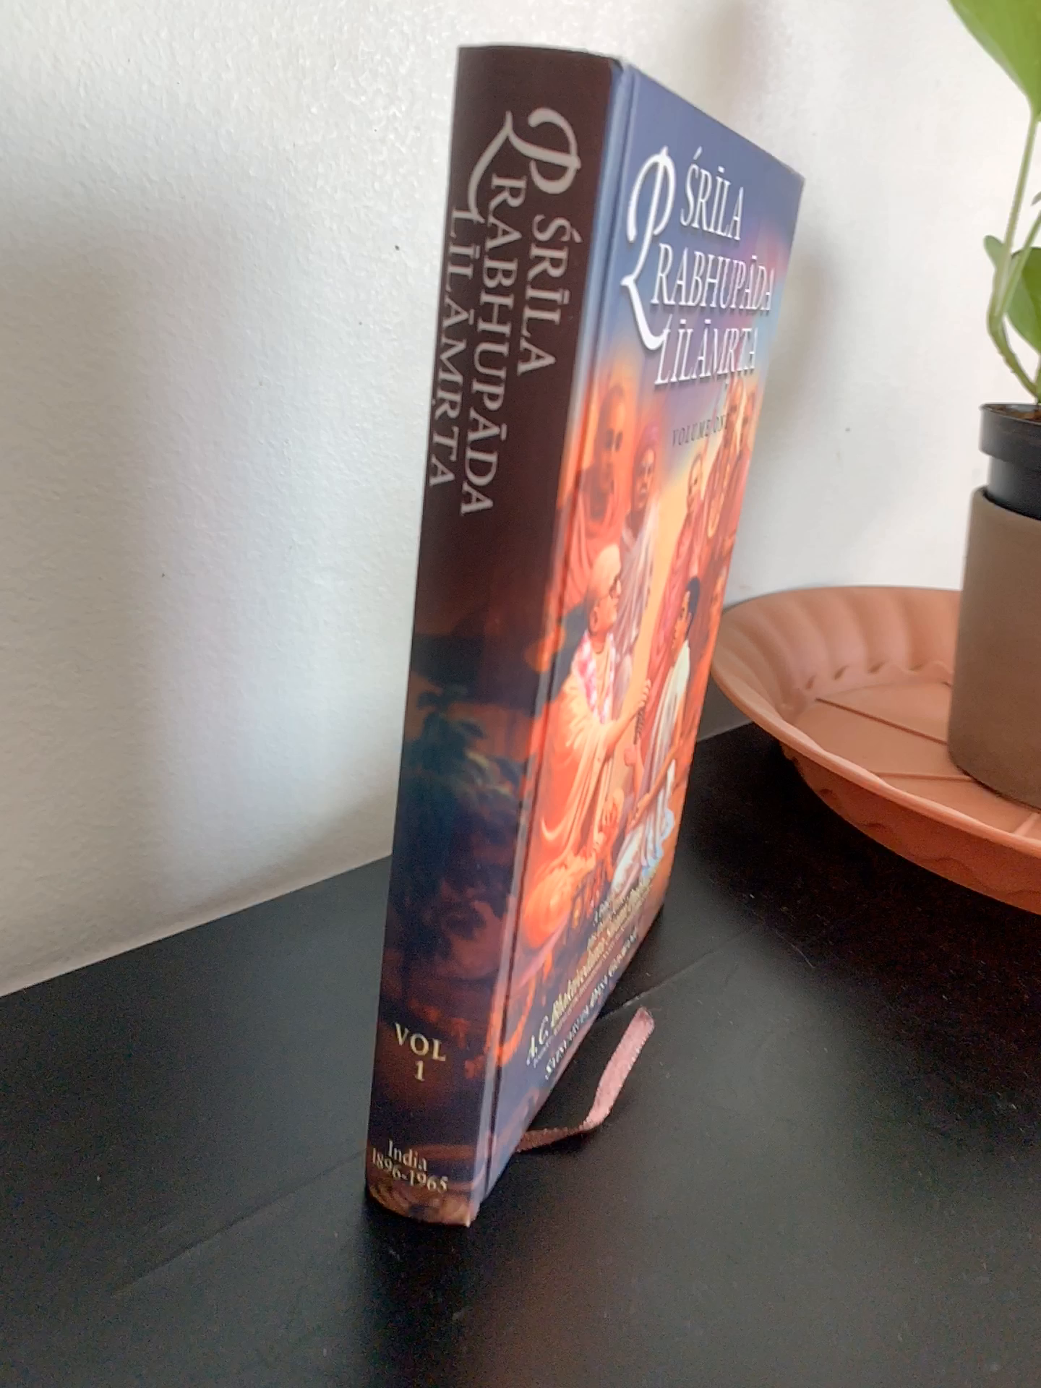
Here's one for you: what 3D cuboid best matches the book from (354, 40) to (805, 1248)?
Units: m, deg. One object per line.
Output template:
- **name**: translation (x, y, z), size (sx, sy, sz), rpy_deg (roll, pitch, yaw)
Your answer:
- **book**: translation (0.020, -0.013, 0.275), size (0.030, 0.233, 0.162), rpy_deg (14, 22, 20)
